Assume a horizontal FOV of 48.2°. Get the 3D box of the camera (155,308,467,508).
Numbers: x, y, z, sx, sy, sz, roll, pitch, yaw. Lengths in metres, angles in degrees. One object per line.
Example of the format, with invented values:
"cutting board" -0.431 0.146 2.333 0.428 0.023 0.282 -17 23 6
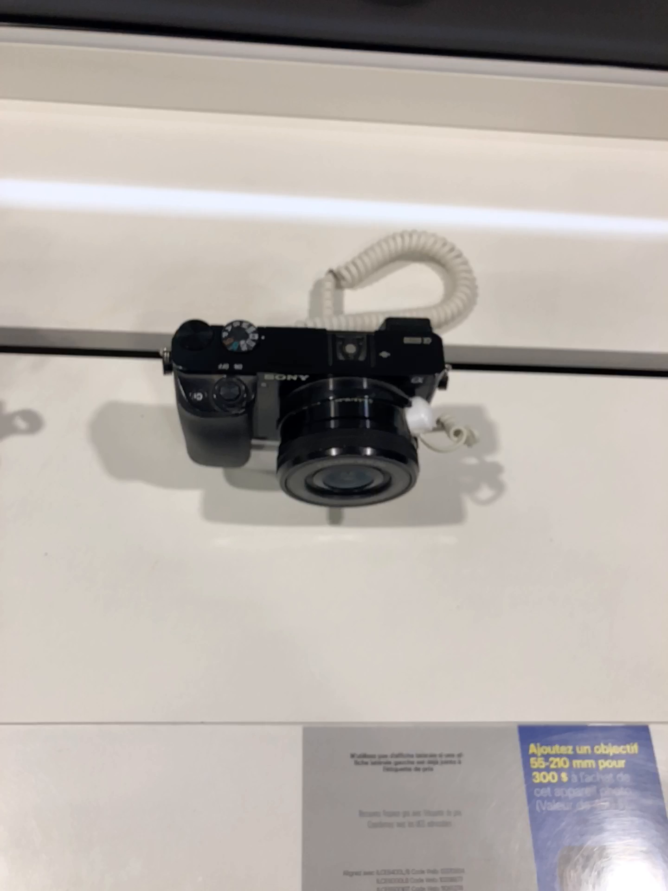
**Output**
"camera" -0.012 -0.016 0.361 0.130 0.077 0.065 0 61 -4
